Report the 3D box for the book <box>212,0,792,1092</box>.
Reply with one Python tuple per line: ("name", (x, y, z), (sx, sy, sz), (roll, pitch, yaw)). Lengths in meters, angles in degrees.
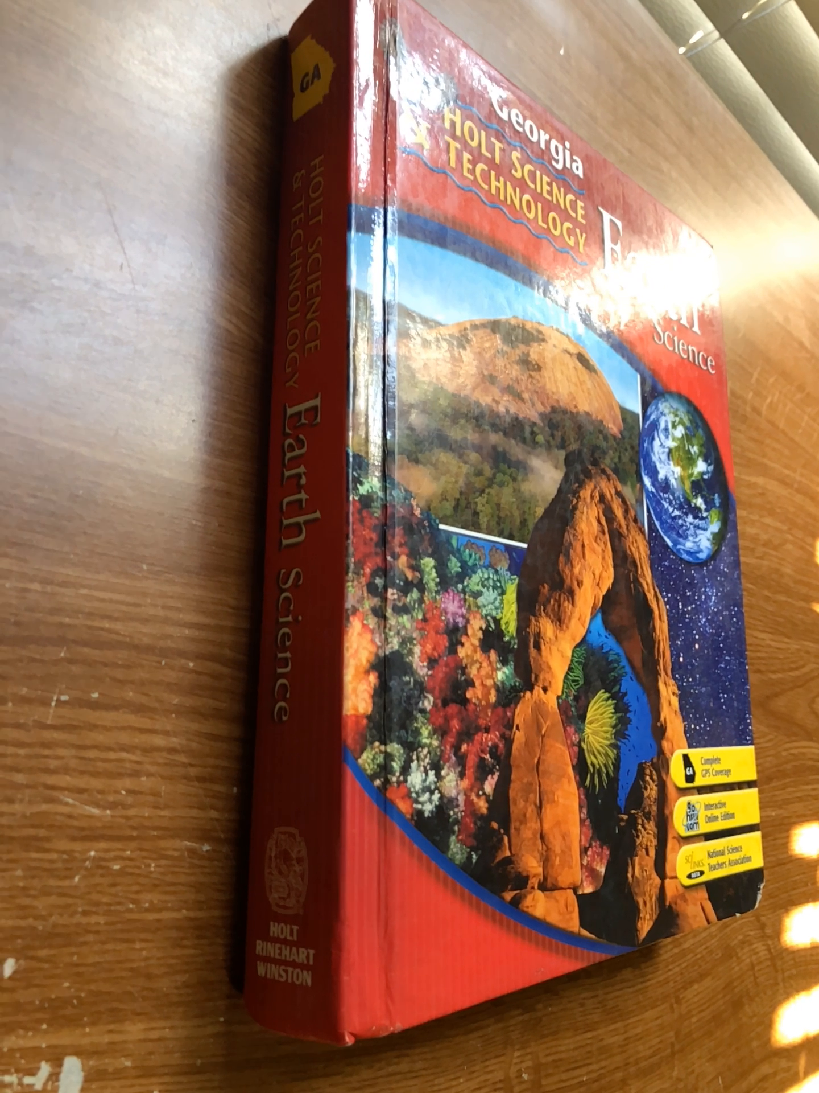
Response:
("book", (0.046, -0.002, 0.297), (0.216, 0.050, 0.265), (12, 73, -45))
